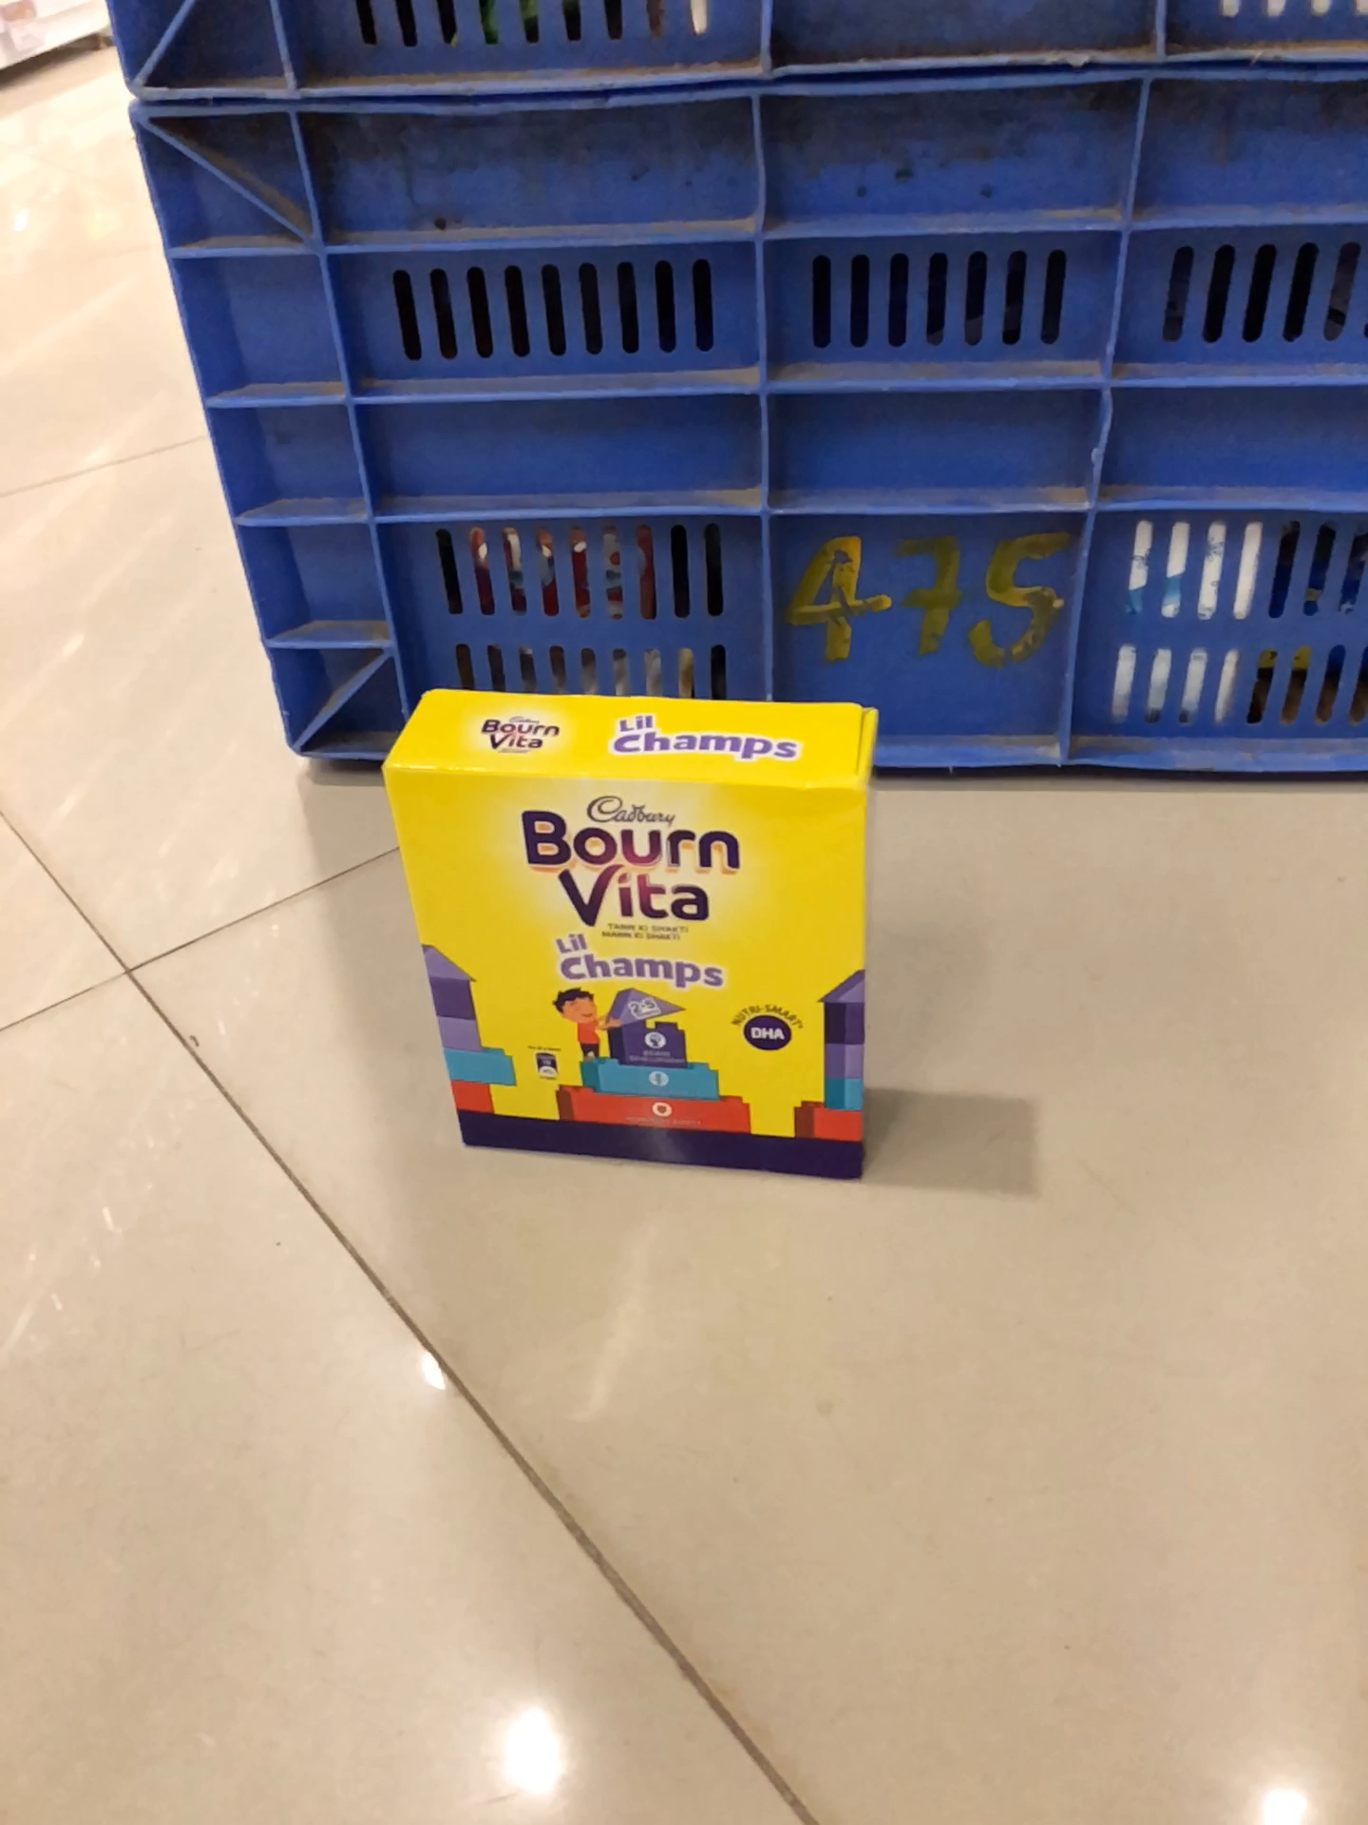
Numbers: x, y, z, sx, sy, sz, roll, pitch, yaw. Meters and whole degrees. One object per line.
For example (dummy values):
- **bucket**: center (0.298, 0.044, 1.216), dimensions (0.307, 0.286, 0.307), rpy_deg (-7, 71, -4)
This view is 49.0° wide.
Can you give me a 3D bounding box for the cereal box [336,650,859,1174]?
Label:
- **cereal box**: center (-0.019, 0.003, 0.502), dimensions (0.150, 0.169, 0.050), rpy_deg (4, 38, 11)
